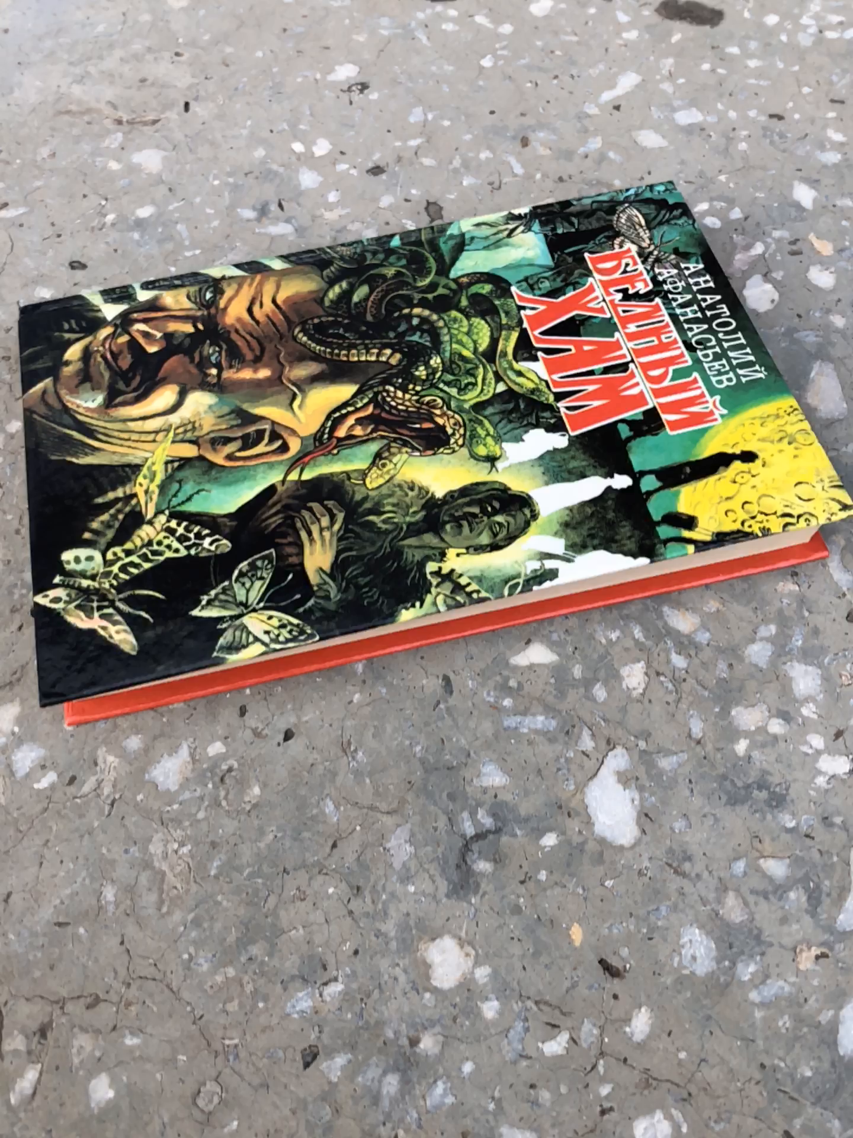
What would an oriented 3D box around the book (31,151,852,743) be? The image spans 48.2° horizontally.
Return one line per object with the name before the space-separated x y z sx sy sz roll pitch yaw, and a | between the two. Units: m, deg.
book | -0.005 -0.044 0.267 0.201 0.020 0.143 -12 61 -3
